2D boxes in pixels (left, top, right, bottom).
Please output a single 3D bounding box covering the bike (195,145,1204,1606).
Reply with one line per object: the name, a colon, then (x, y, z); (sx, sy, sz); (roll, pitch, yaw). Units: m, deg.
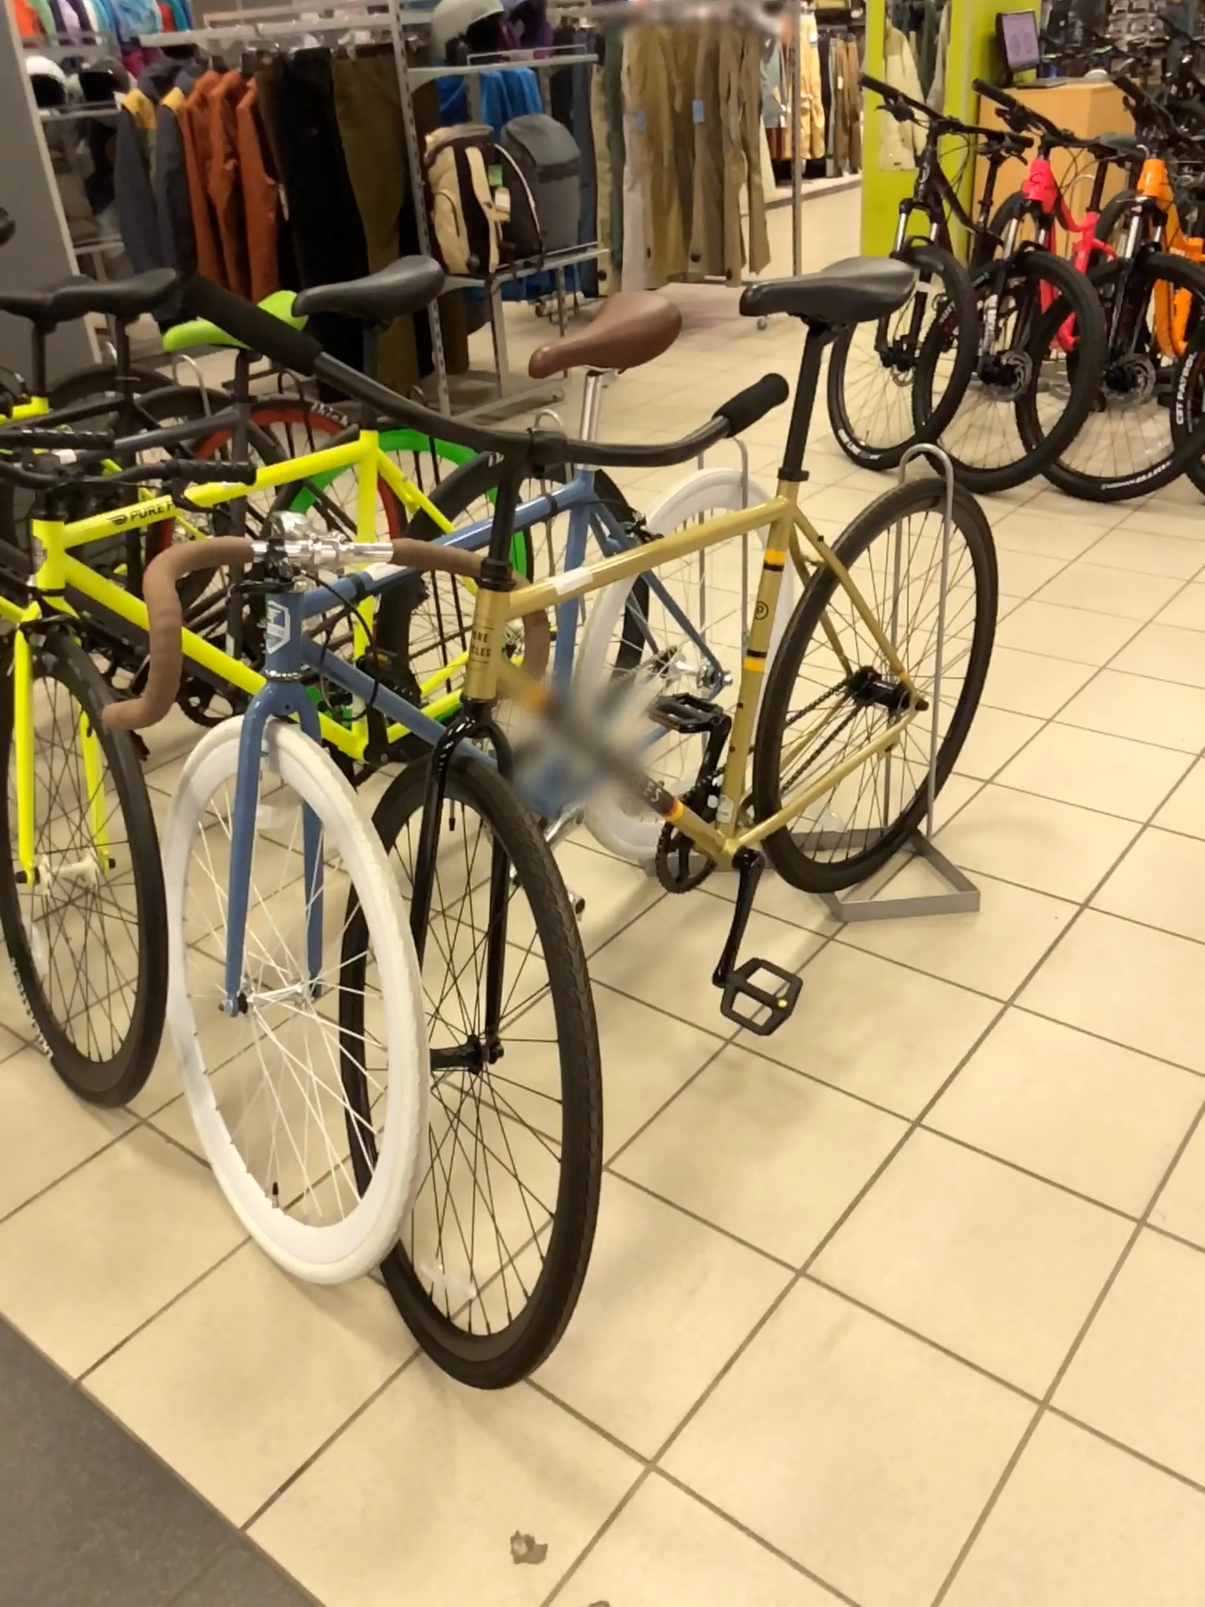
bike: (0.293, -0.048, 1.684); (0.673, 1.091, 1.470); (11, 38, 27)
